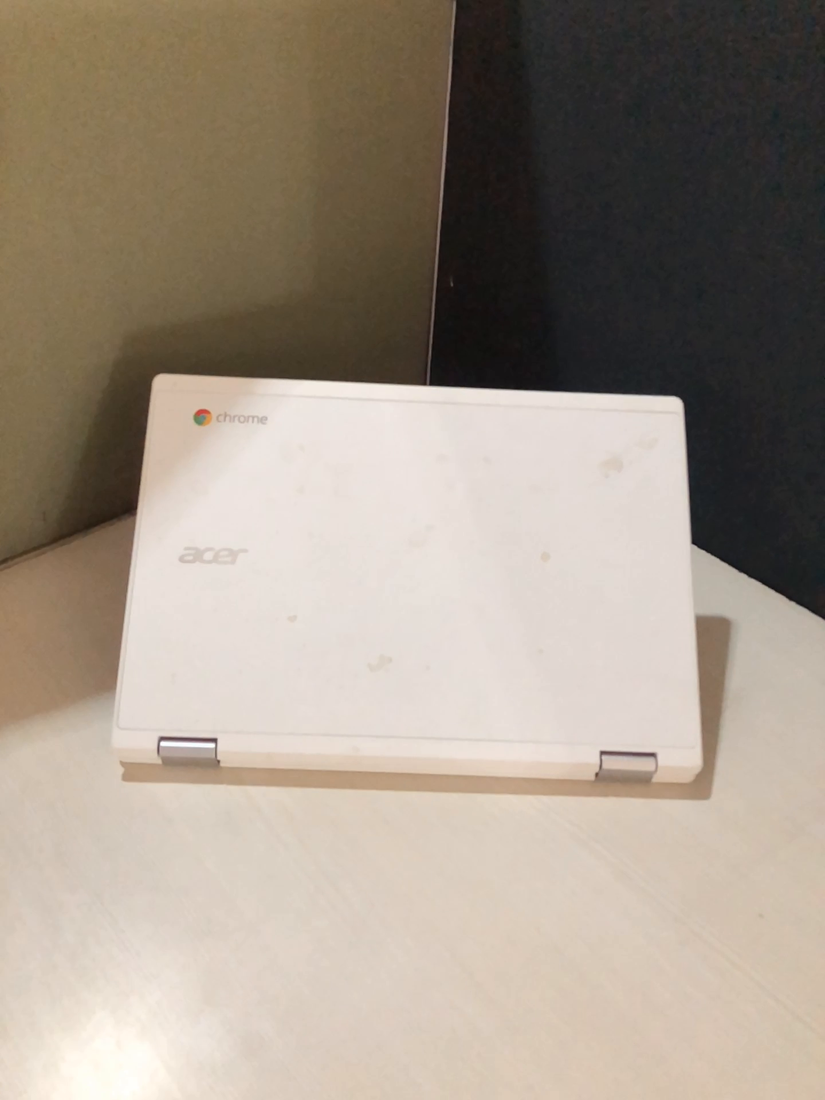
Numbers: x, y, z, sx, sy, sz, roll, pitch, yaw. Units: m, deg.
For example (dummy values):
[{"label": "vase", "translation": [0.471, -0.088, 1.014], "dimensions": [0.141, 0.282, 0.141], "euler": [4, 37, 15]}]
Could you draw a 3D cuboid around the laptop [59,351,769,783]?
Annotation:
[{"label": "laptop", "translation": [-0.001, 0.001, 0.468], "dimensions": [0.285, 0.114, 0.188], "euler": [2, 40, -1]}]
